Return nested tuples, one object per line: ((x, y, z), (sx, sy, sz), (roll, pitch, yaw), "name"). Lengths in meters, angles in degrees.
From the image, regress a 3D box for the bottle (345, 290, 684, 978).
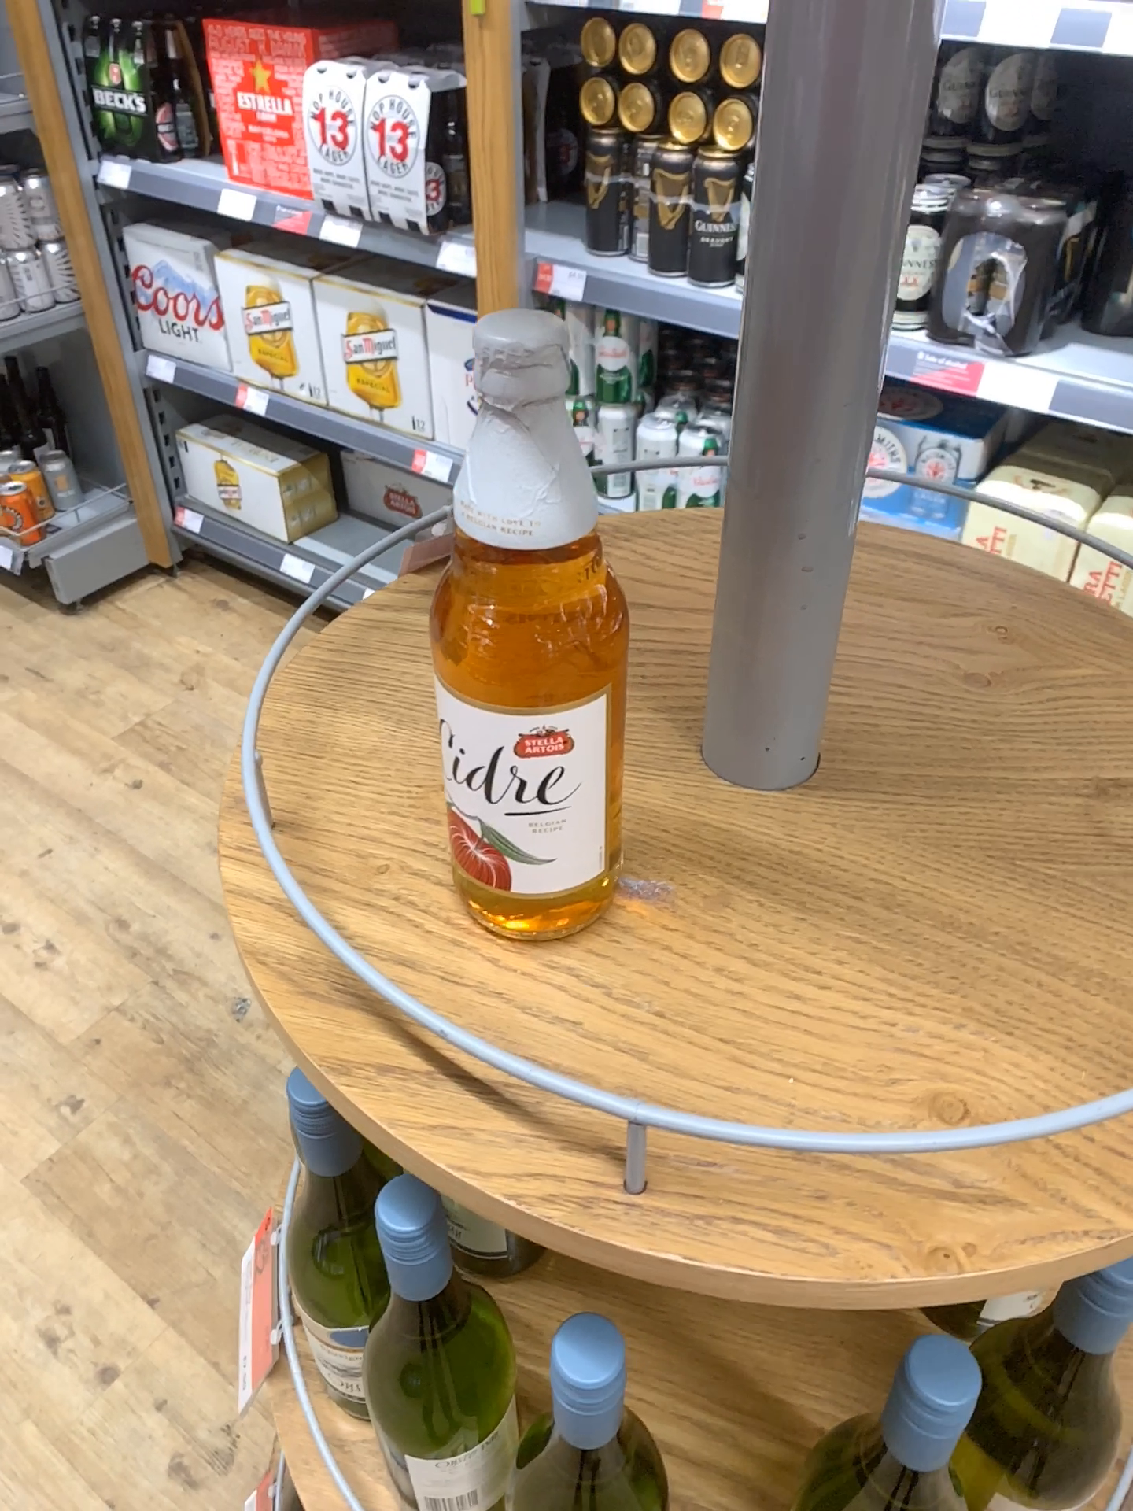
((-0.013, -0.033, 0.401), (0.069, 0.218, 0.070), (0, 39, 0), "bottle")
